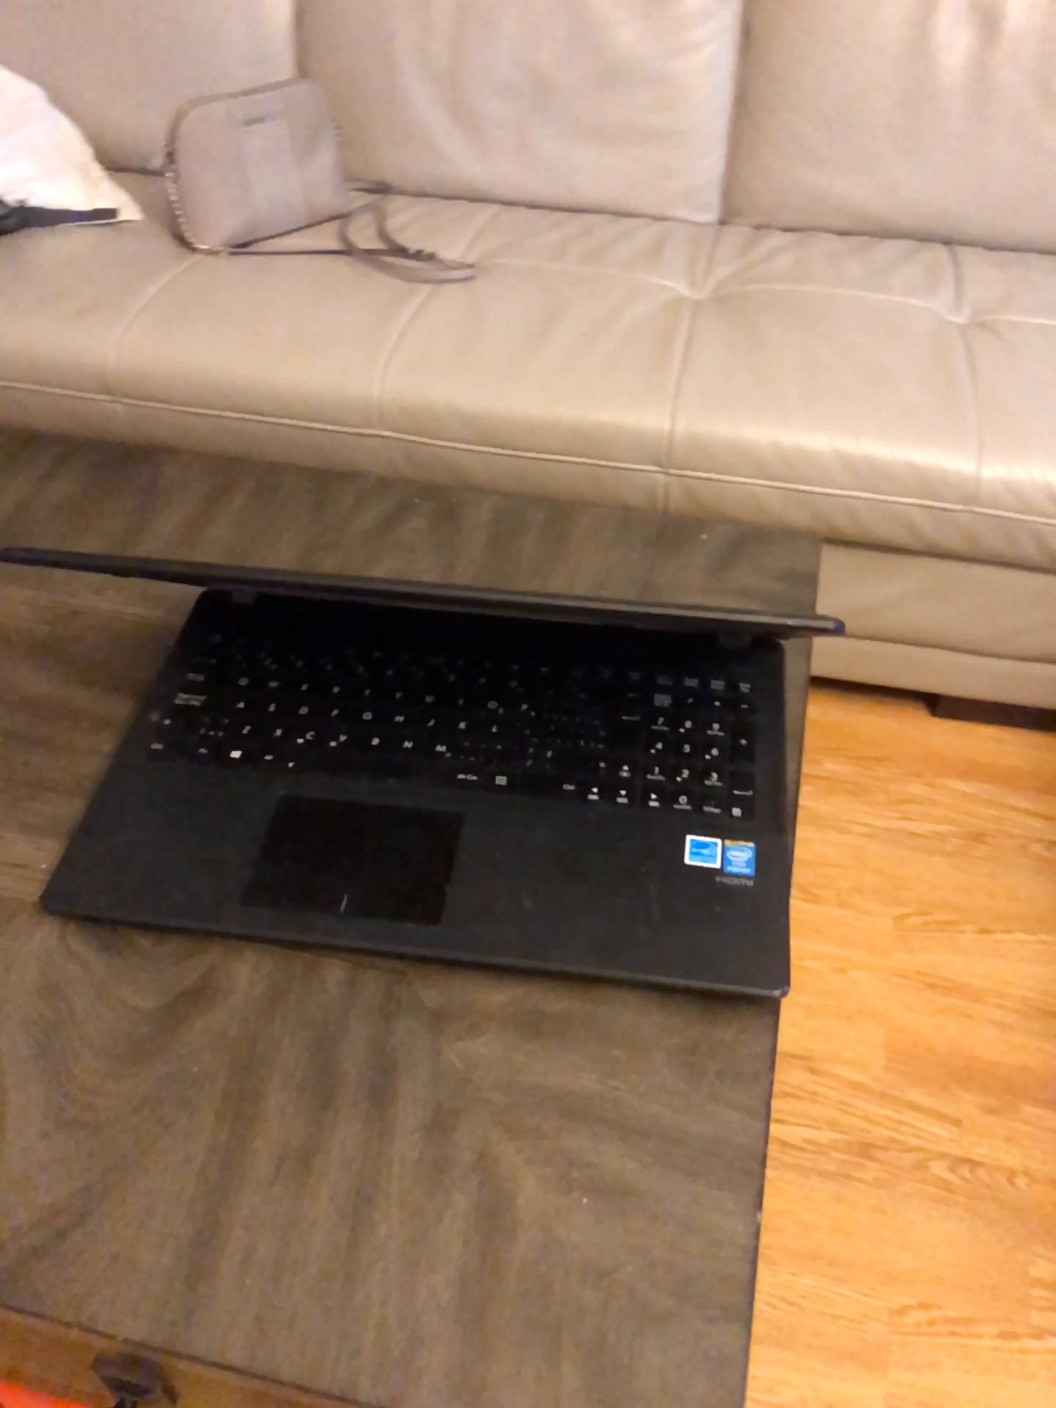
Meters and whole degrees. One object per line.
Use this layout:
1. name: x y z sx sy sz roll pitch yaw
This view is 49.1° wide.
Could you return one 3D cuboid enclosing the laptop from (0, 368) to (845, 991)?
1. laptop: -0.047 -0.025 0.598 0.372 0.164 0.239 6 46 6
